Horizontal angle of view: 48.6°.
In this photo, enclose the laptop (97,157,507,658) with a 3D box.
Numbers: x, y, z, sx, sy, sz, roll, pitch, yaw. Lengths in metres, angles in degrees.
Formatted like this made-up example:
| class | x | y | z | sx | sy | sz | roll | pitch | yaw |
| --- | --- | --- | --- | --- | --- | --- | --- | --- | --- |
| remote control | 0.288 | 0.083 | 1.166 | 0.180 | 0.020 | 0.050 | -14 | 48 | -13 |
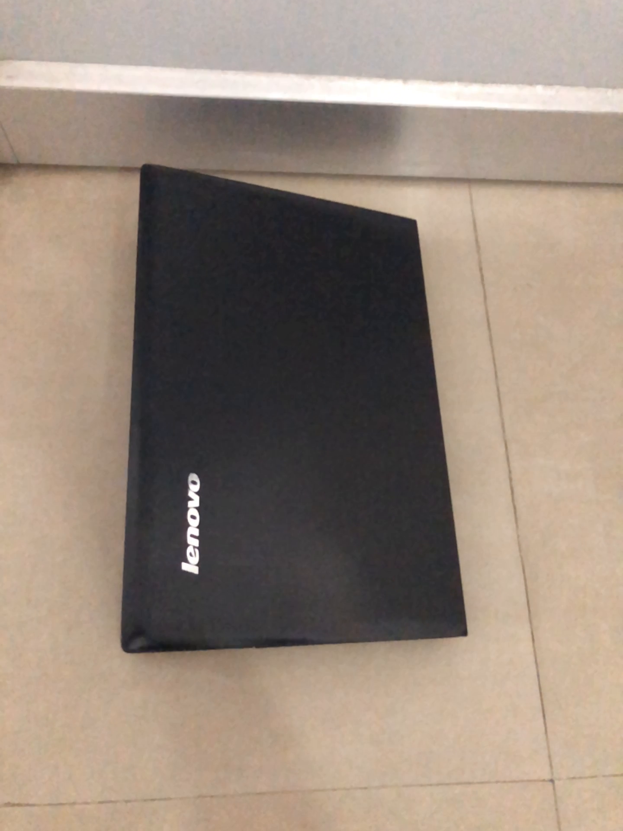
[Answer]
| class | x | y | z | sx | sy | sz | roll | pitch | yaw |
| --- | --- | --- | --- | --- | --- | --- | --- | --- | --- |
| laptop | -0.015 | -0.019 | 0.538 | 0.257 | 0.097 | 0.367 | -2 | 70 | -7 |
